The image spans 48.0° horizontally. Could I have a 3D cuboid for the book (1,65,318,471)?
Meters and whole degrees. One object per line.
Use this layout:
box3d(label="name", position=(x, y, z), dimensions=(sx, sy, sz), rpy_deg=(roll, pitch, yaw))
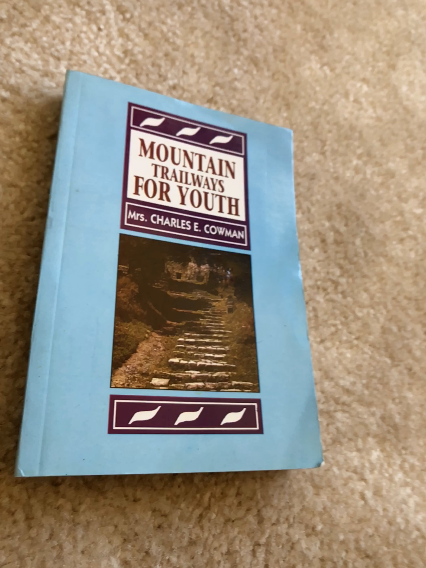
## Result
box3d(label="book", position=(-0.018, -0.007, 0.220), dimensions=(0.122, 0.030, 0.170), rpy_deg=(7, 70, -19))
